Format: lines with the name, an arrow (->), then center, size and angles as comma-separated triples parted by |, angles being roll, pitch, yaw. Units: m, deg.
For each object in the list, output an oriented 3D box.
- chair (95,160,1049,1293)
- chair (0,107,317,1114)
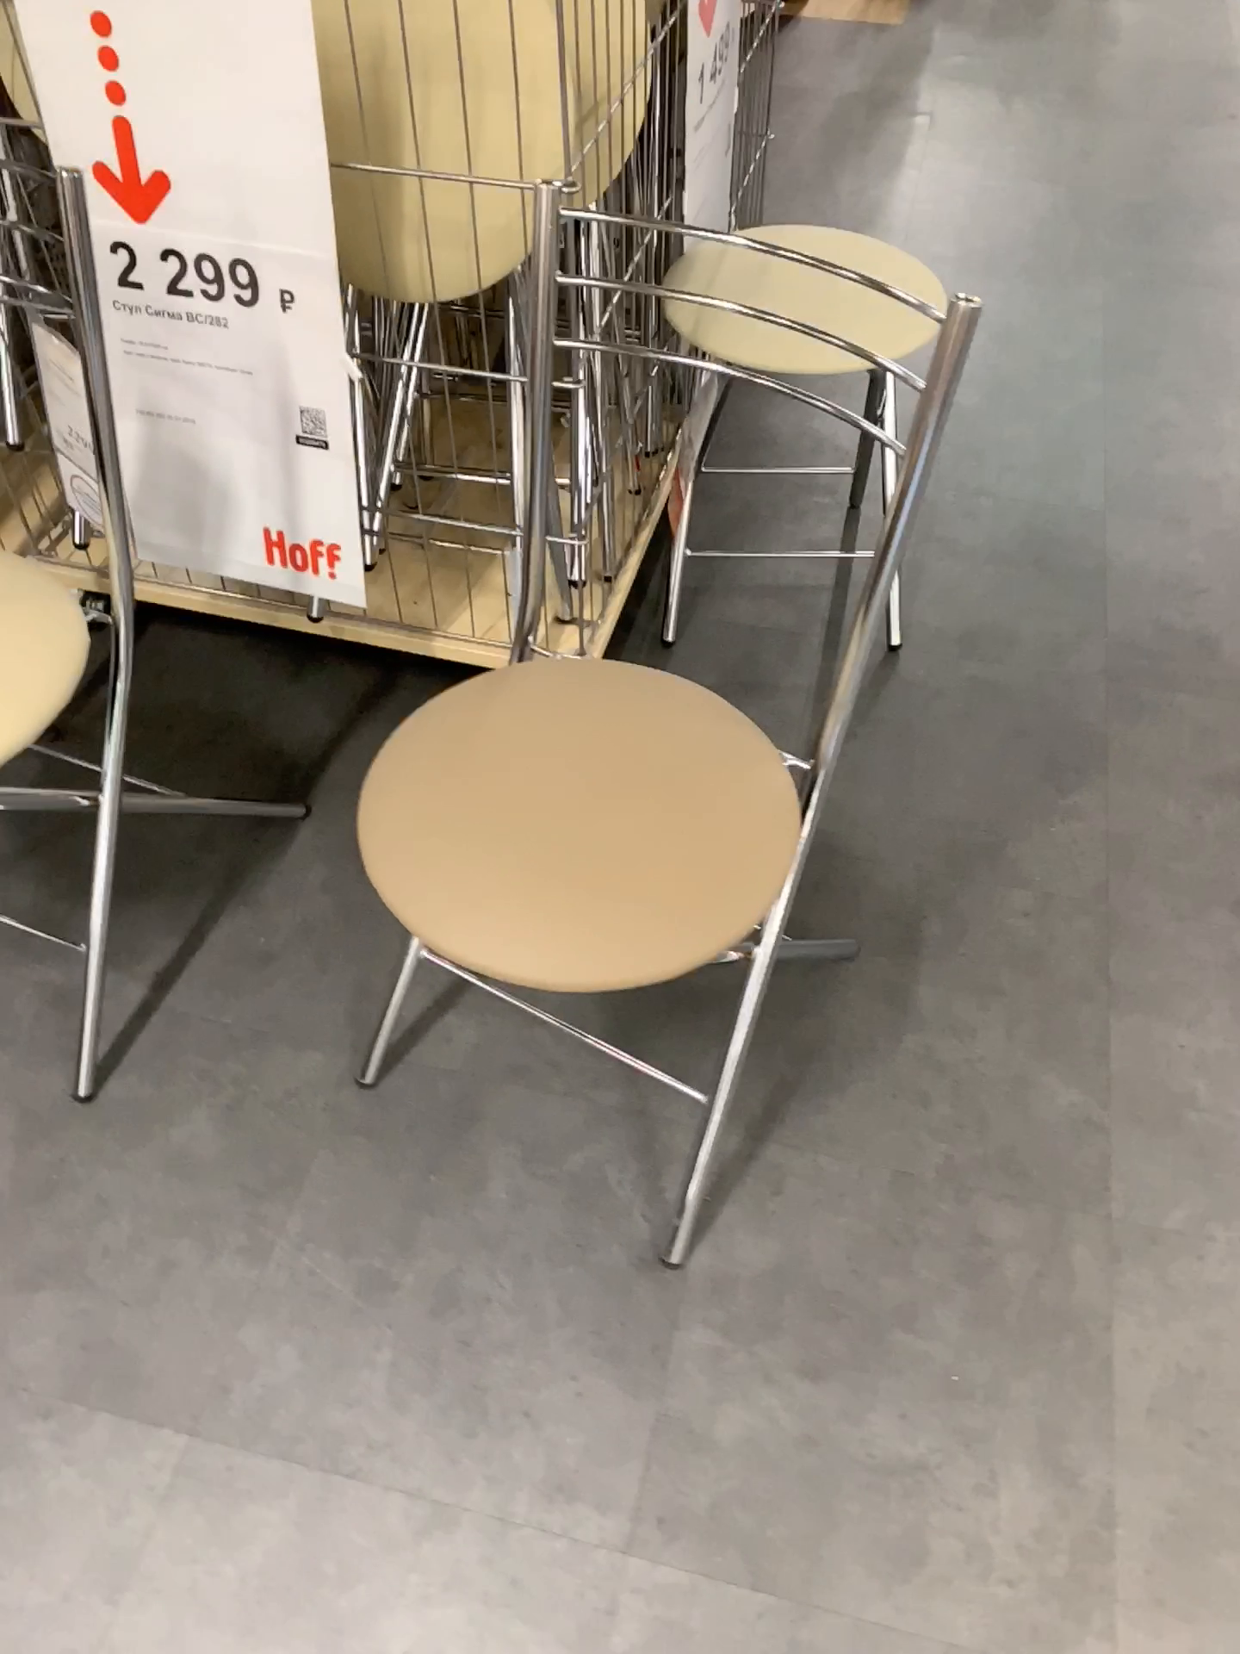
chair -> -0.006, -0.047, 1.141 | 0.440, 0.796, 0.492 | 24, 54, 19
chair -> -0.726, -0.180, 1.273 | 0.520, 0.776, 0.492 | 14, 52, 12
